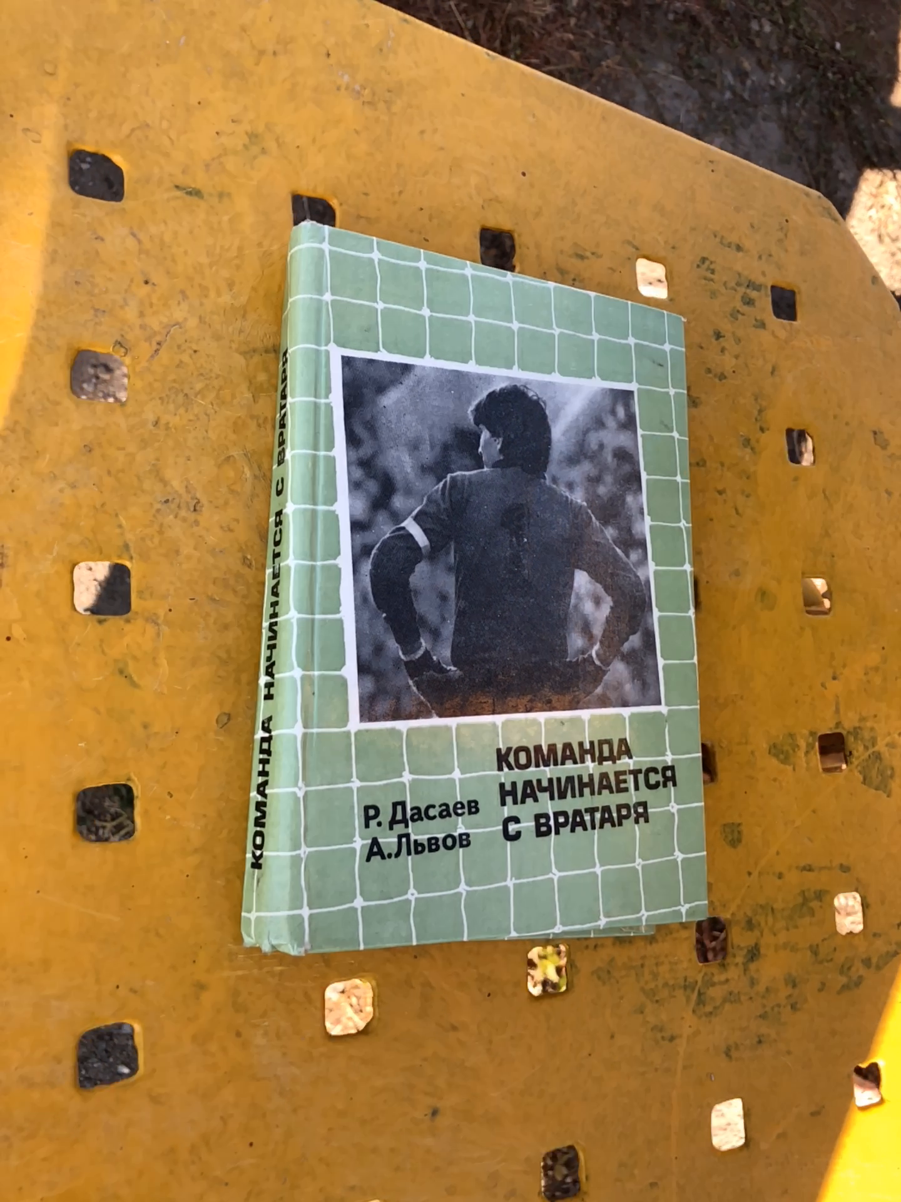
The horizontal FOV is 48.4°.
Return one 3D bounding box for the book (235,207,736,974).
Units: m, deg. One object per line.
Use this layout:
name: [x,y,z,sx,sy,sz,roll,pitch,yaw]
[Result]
book: [0.011,-0.001,0.250,0.118,0.030,0.164,5,79,-26]
